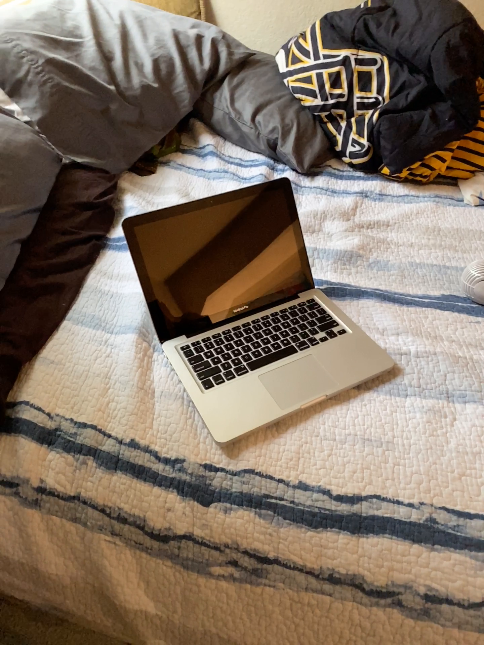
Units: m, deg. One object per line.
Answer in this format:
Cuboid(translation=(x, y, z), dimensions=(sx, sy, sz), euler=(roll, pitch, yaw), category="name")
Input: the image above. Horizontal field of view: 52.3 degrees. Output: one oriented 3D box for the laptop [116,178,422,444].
Cuboid(translation=(0.025, -0.048, 0.792), dimensions=(0.320, 0.165, 0.347), euler=(-20, 48, -21), category="laptop")
